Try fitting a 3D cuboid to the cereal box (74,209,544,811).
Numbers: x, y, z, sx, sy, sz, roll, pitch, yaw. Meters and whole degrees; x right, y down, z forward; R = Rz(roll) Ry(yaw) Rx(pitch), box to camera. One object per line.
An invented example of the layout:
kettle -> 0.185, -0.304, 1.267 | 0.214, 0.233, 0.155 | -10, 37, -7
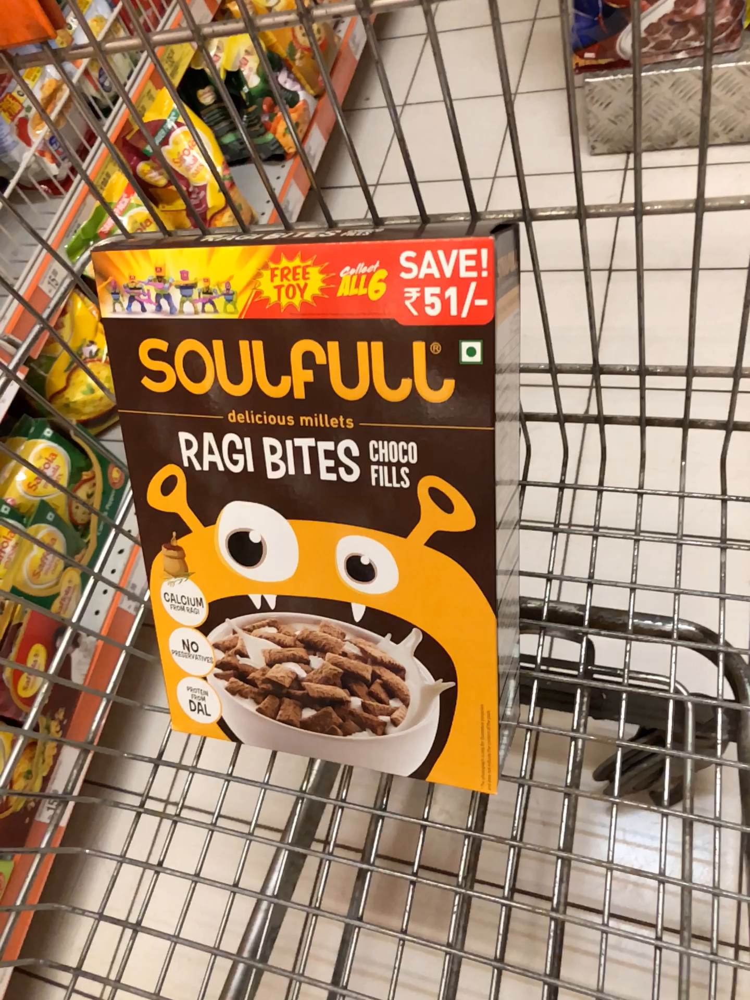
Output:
cereal box -> -0.023, 0.002, 0.401 | 0.190, 0.259, 0.070 | 5, 23, 22
